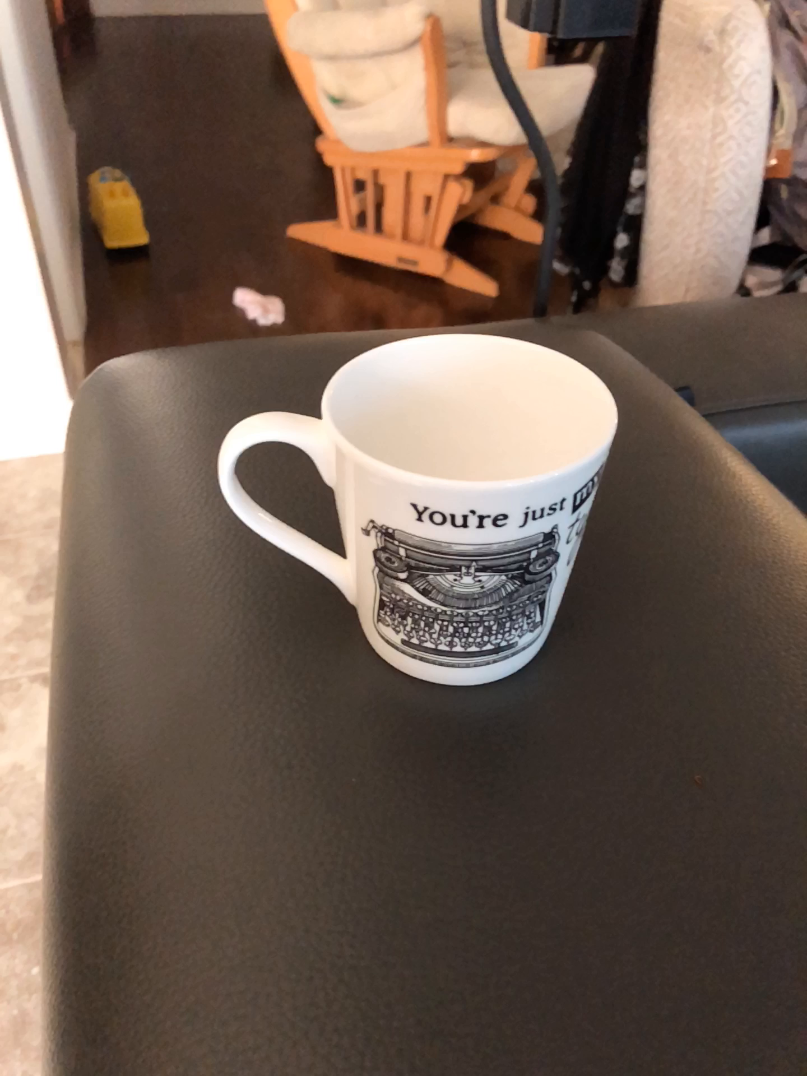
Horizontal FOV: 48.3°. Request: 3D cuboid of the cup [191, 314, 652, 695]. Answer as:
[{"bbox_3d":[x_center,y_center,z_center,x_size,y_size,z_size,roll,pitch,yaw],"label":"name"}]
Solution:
[{"bbox_3d":[0.003,-0.011,0.288,0.117,0.089,0.081,1,39,-2],"label":"cup"}]
